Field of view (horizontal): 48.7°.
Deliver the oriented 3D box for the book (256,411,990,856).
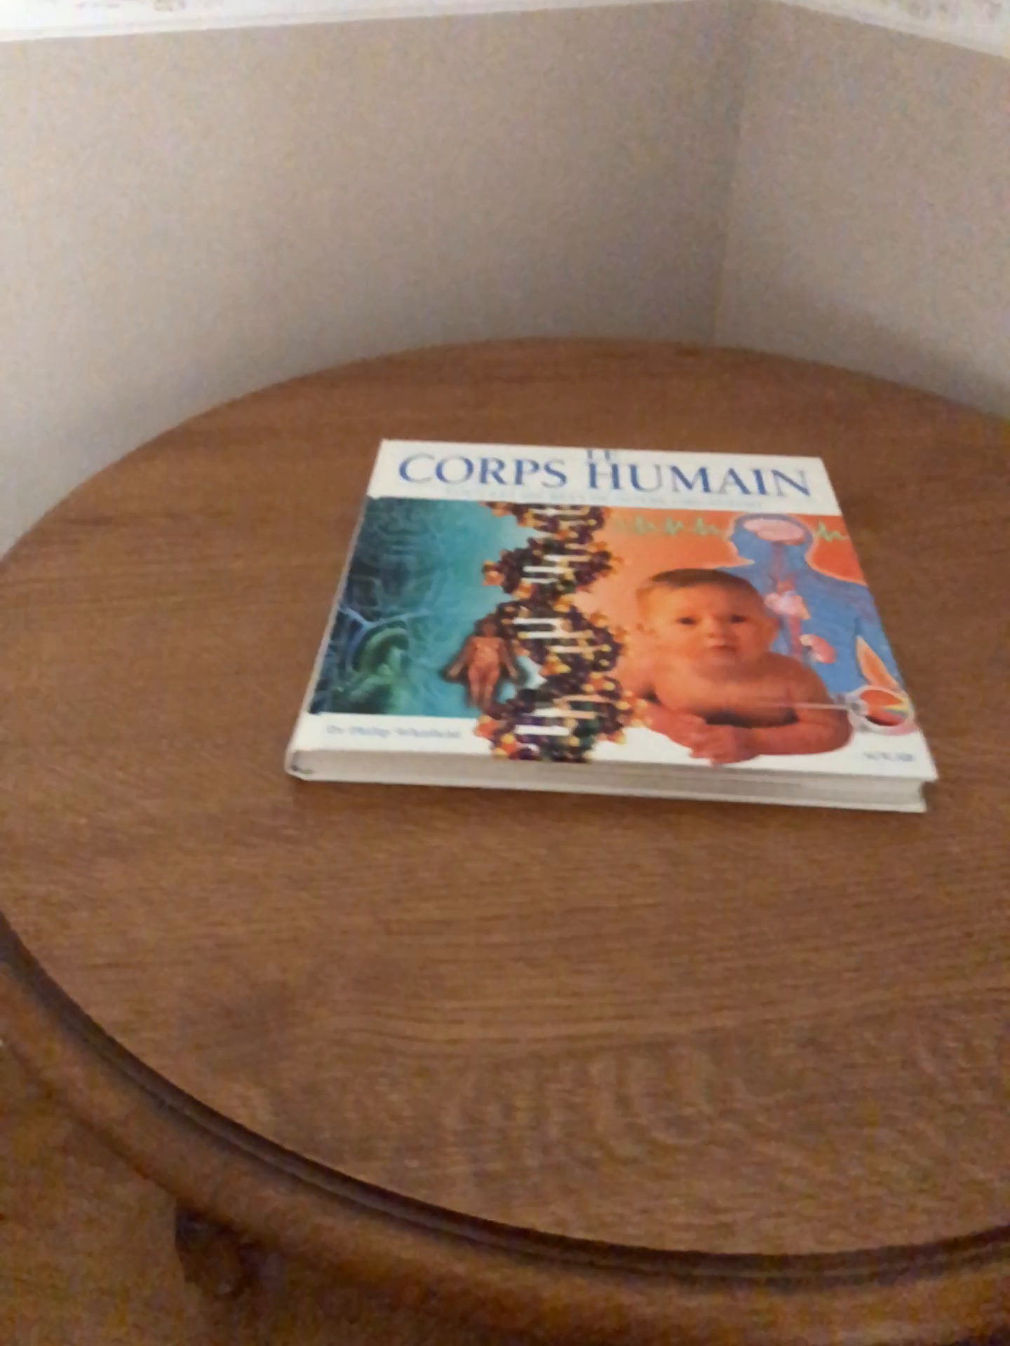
[{"bbox_3d":[0.049,-0.040,0.538,0.270,0.040,0.292,2,38,2],"label":"book"}]
